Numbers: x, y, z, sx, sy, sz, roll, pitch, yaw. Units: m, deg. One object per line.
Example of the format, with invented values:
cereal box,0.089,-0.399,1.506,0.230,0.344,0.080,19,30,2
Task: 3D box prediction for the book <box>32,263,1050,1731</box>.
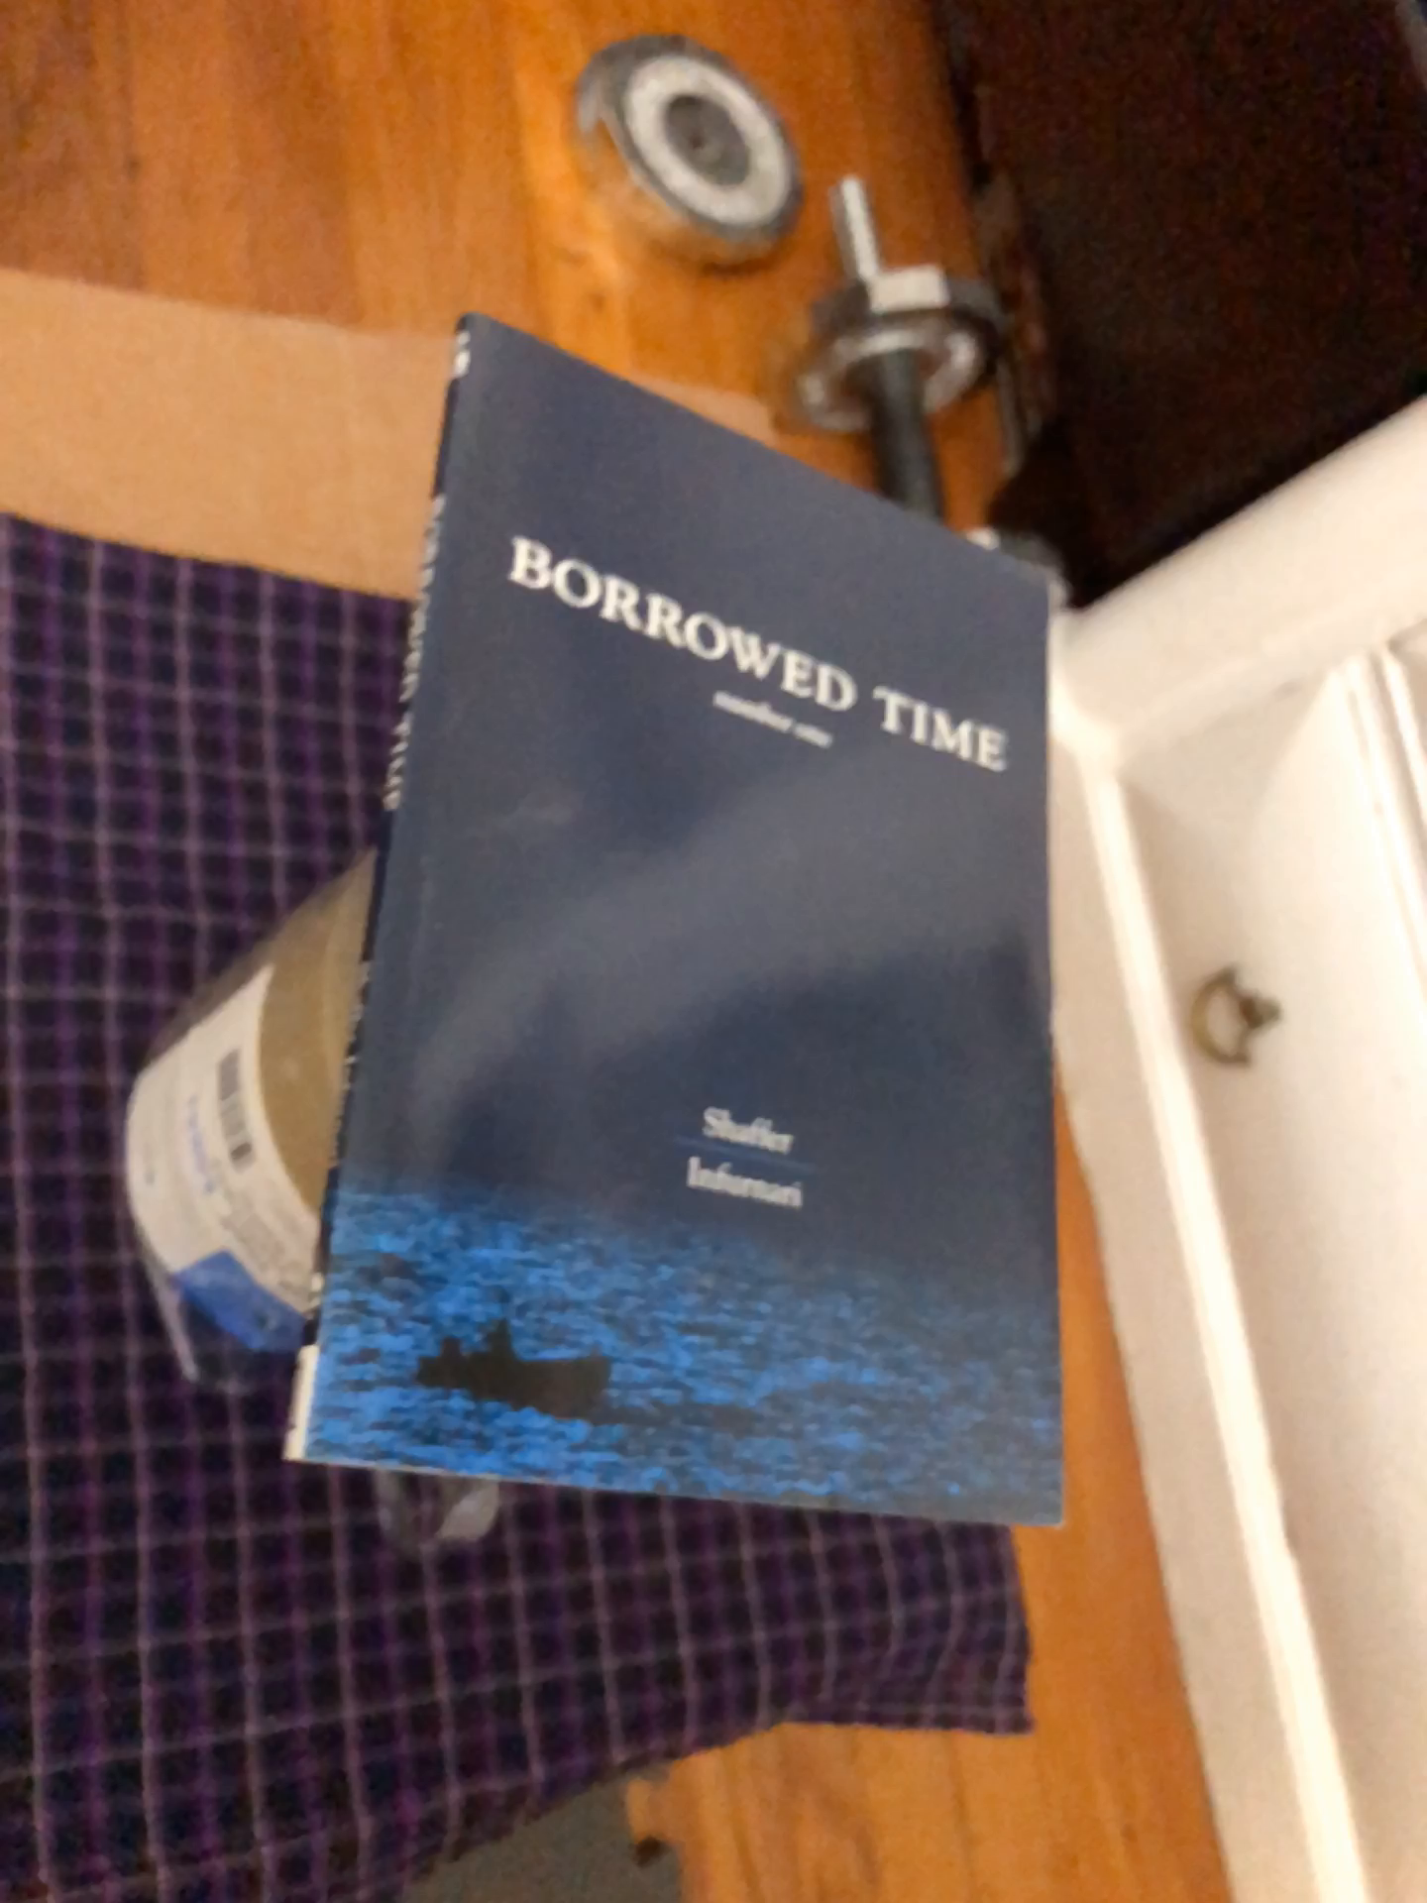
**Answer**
book,-0.007,0.005,0.280,0.160,0.010,0.230,17,63,-28
